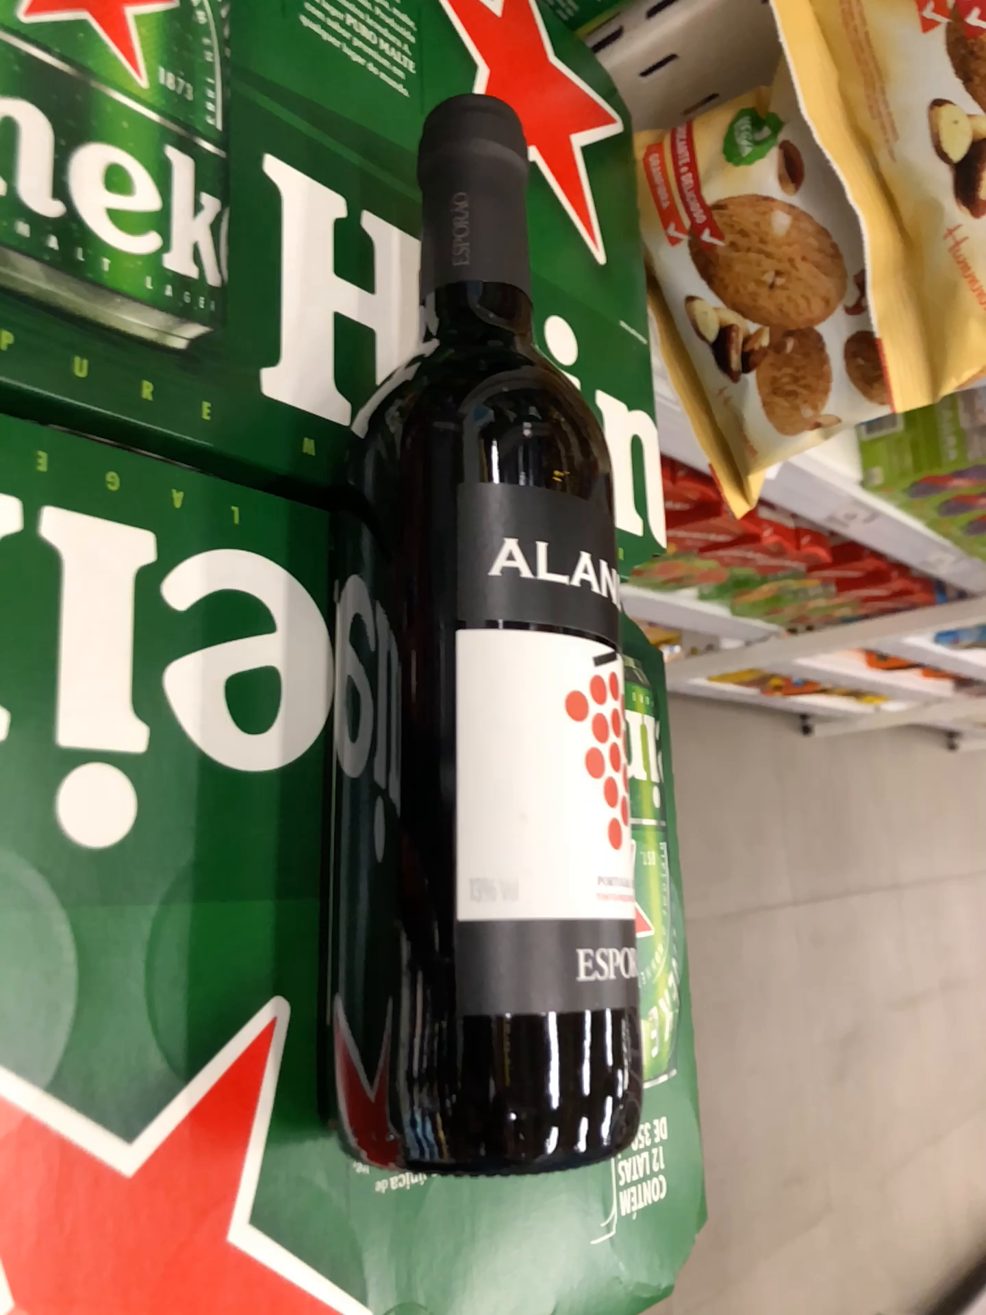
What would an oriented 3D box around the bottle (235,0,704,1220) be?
[{"bbox_3d":[-0.007,-0.030,0.218,0.060,0.060,0.240,20,64,-59],"label":"bottle"}]
